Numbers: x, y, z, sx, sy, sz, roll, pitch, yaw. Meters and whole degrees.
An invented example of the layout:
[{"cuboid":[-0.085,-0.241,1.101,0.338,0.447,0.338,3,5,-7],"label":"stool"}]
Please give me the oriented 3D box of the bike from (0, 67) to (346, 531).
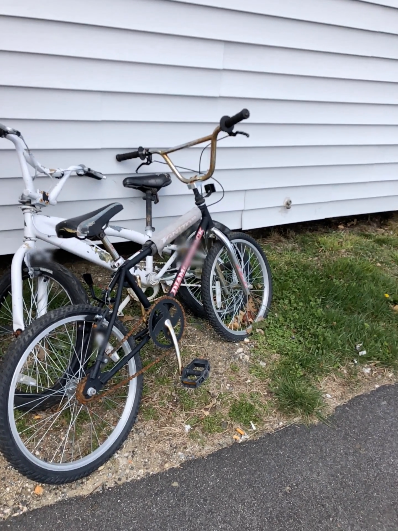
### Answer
[{"cuboid":[-0.206,-0.086,1.490,0.757,0.932,1.303,24,35,27],"label":"bike"}]
